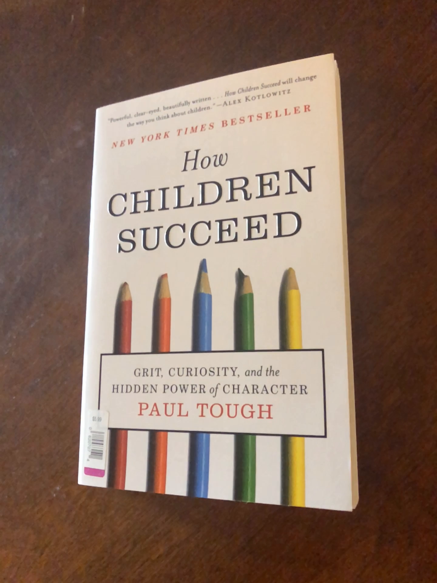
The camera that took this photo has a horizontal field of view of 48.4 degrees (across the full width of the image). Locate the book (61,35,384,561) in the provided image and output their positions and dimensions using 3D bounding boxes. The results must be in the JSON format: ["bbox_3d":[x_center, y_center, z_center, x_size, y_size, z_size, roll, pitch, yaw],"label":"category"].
[{"bbox_3d":[-0.002,0.000,0.231,0.140,0.030,0.210,-4,80,21],"label":"book"}]
